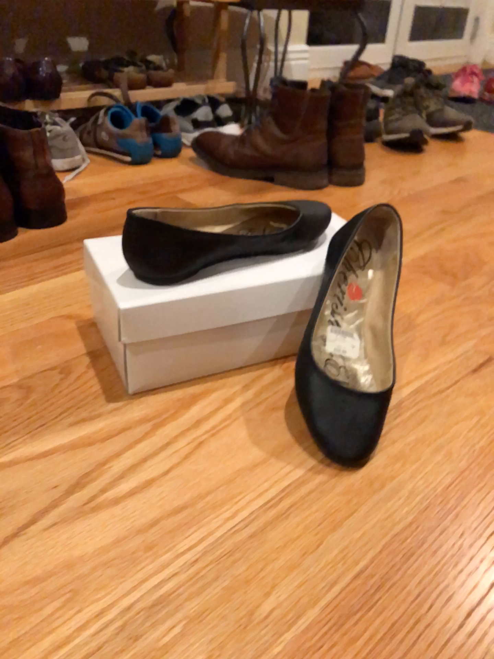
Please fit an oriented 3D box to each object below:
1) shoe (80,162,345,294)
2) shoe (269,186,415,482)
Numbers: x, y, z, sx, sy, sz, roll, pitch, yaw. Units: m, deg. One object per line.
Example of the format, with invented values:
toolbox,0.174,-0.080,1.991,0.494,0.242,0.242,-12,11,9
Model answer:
shoe,-0.025,-0.105,0.518,0.240,0.060,0.076,-18,38,-30
shoe,0.086,0.001,0.474,0.076,0.060,0.240,16,68,-8
